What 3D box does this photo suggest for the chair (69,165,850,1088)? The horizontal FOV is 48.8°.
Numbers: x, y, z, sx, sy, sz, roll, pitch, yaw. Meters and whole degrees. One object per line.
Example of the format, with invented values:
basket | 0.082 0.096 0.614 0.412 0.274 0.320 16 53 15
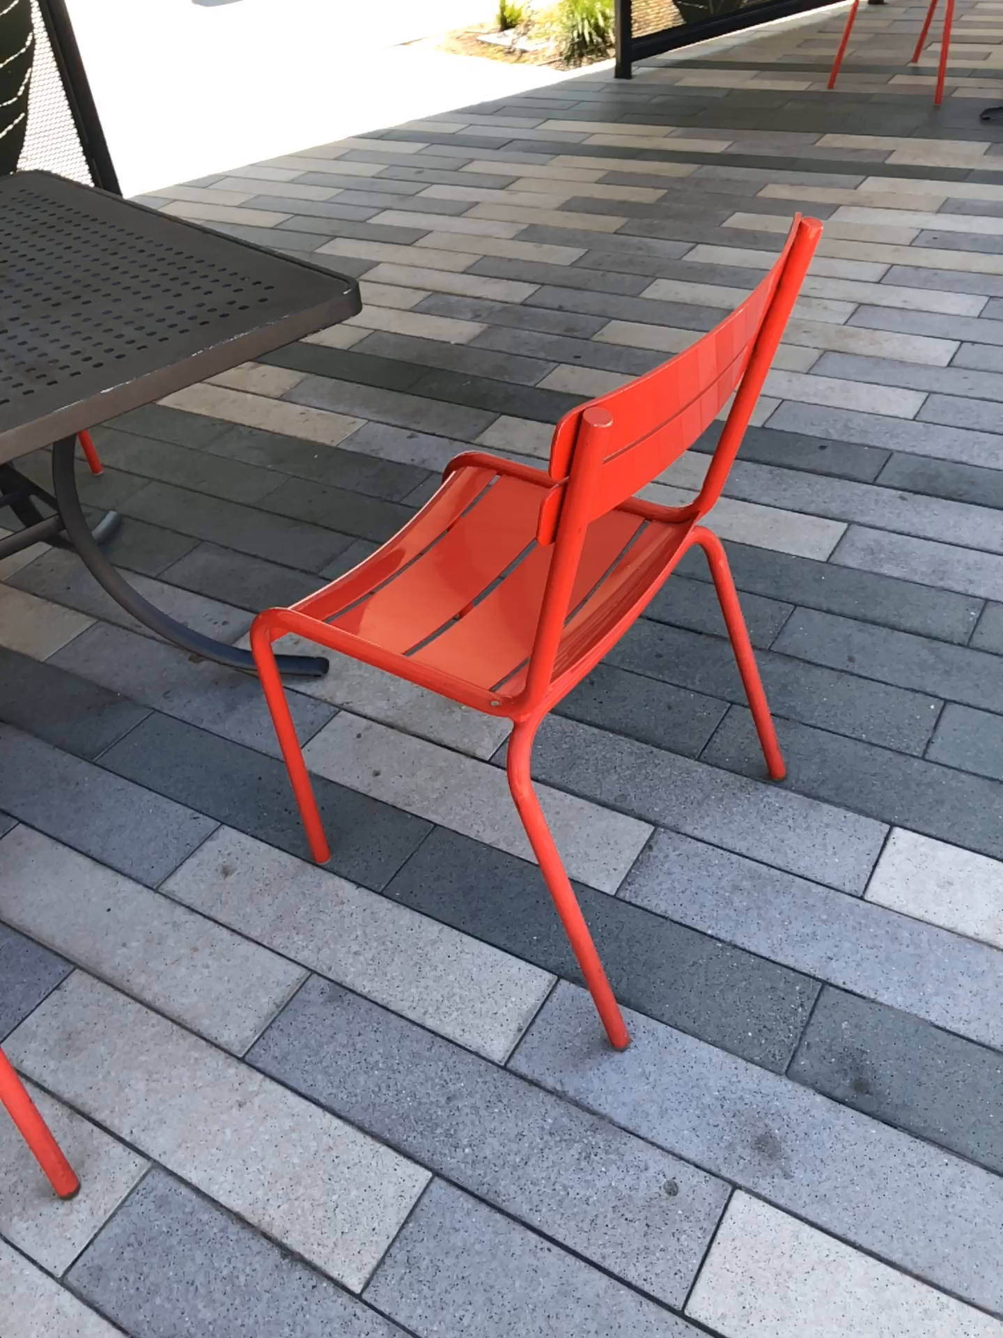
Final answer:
chair | 0.014 -0.074 1.508 0.631 0.955 0.612 17 44 26
